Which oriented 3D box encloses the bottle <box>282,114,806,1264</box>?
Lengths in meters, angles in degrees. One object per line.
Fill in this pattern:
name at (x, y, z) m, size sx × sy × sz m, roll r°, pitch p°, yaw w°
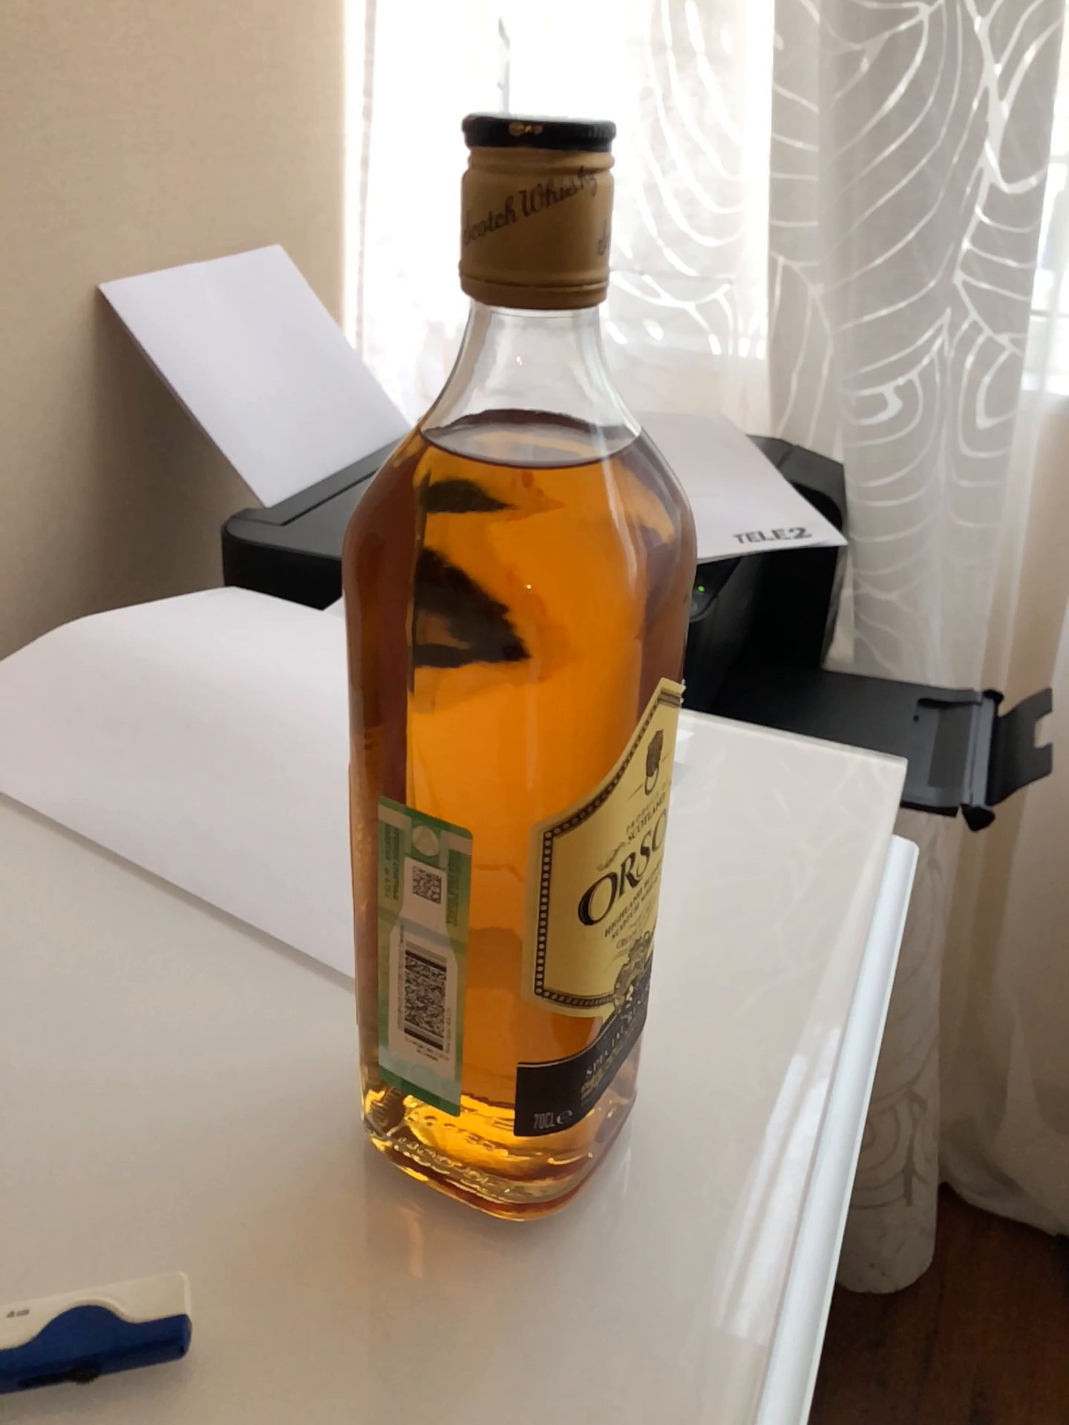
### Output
bottle at (0.000, 0.001, 0.286) m, size 0.070 × 0.258 × 0.080 m, roll 17°, pitch 31°, yaw 25°
